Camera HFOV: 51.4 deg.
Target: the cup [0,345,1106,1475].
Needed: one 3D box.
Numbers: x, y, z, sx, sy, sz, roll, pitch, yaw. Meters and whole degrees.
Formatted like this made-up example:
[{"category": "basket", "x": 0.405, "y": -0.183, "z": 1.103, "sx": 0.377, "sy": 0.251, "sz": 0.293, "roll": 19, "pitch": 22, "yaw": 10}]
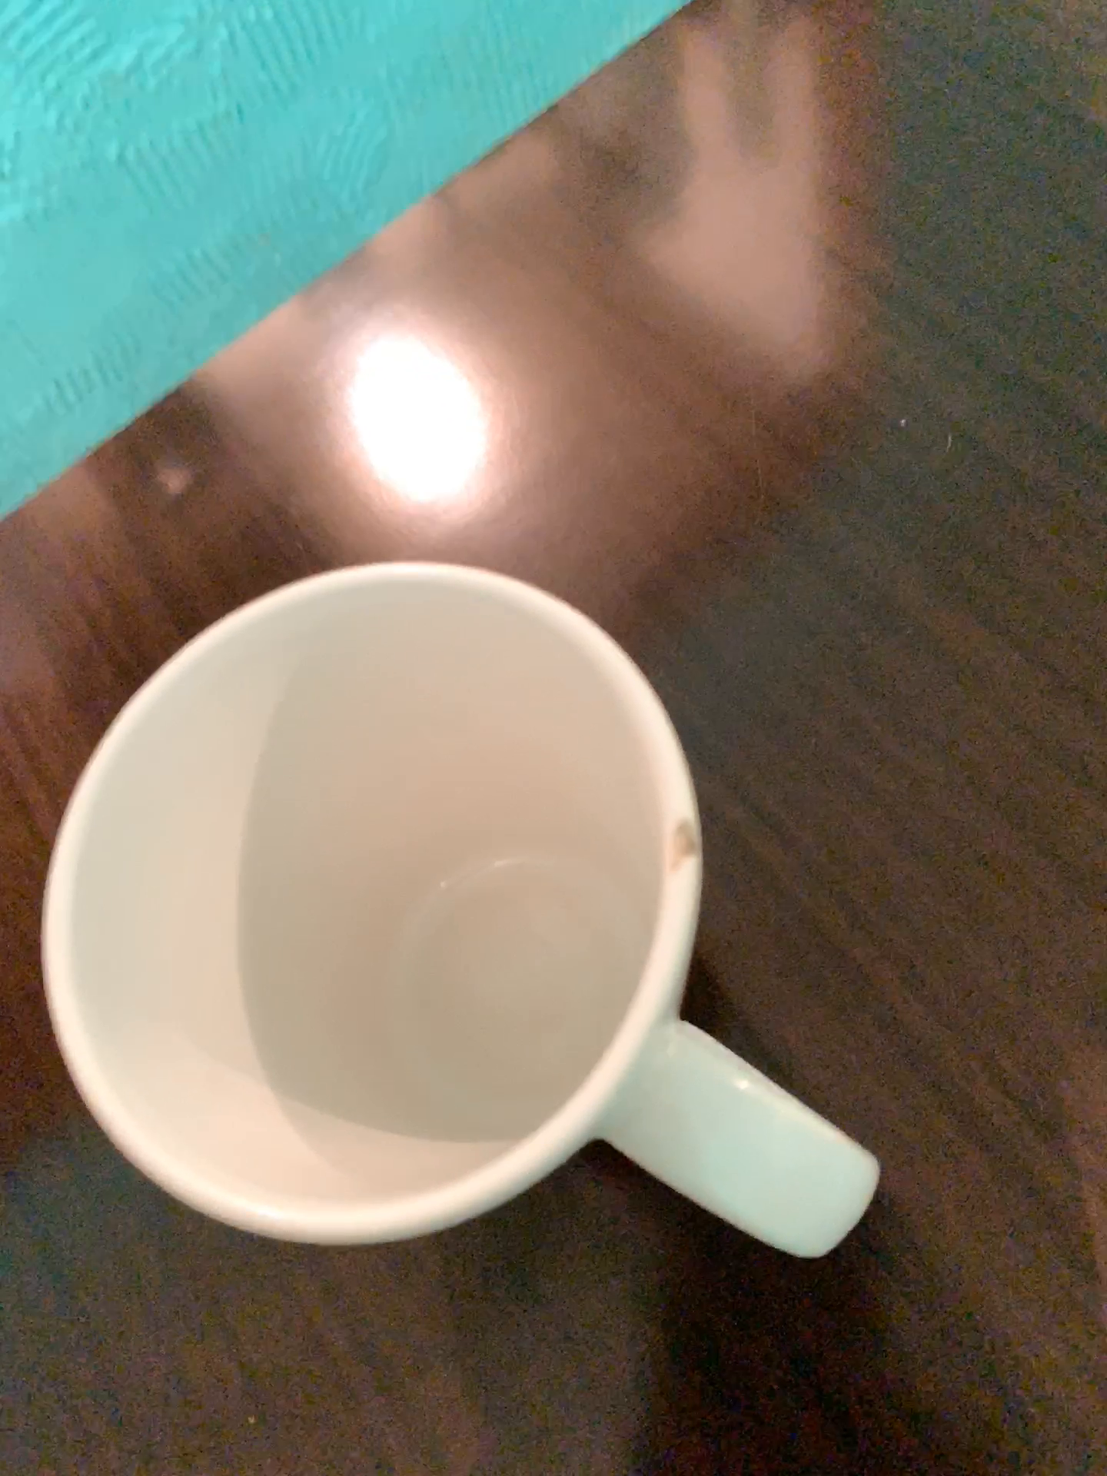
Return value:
[{"category": "cup", "x": -0.006, "y": 0.026, "z": 0.155, "sx": 0.110, "sy": 0.080, "sz": 0.090, "roll": 31, "pitch": 79, "yaw": 22}]
